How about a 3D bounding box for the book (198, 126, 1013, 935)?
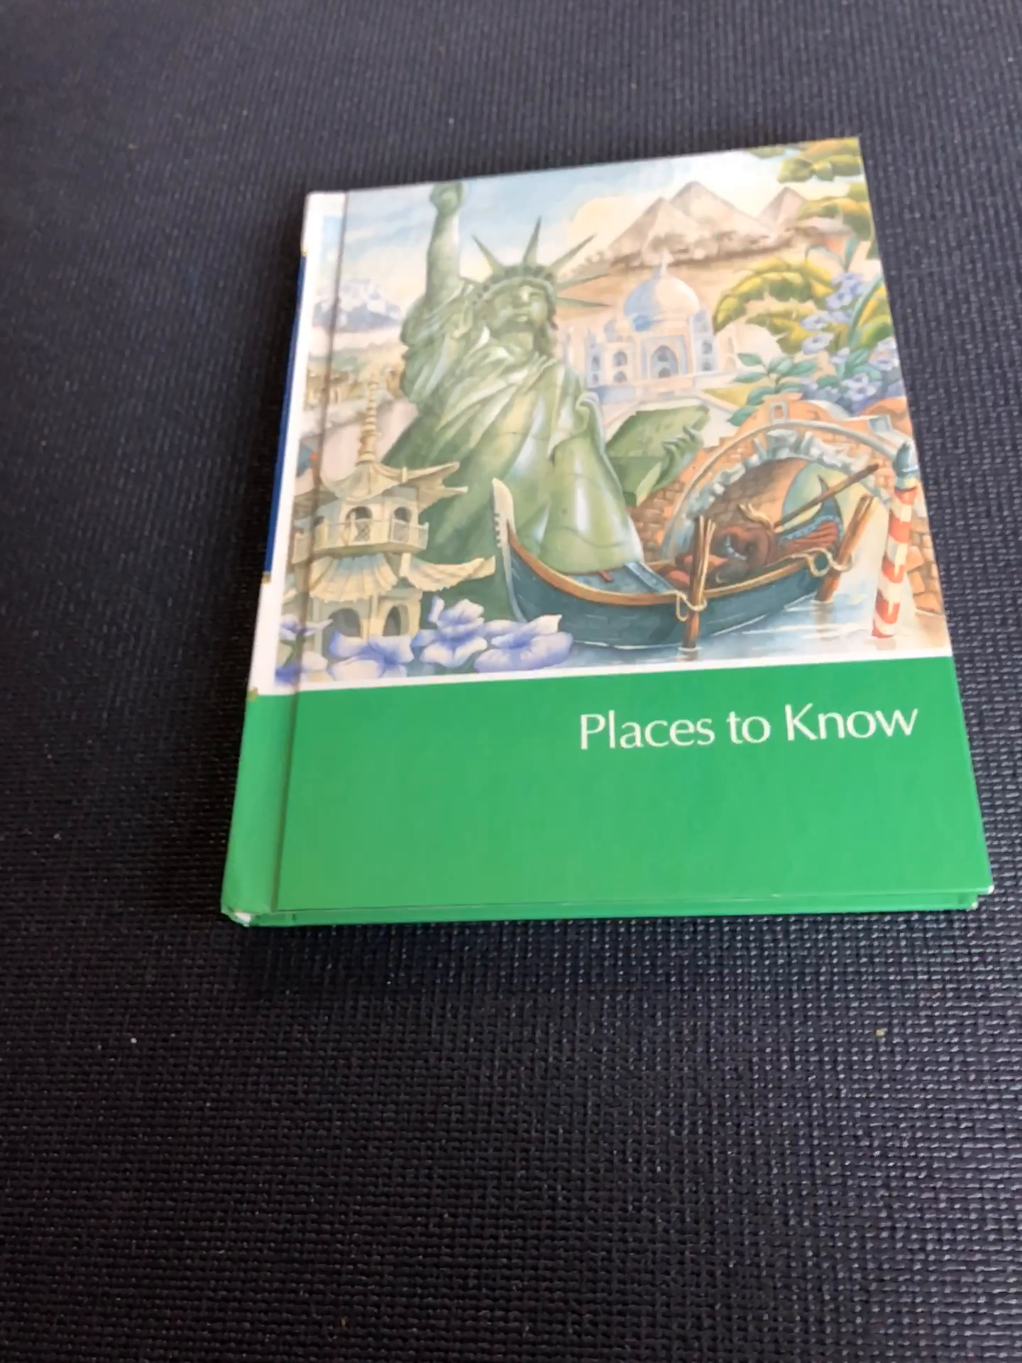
[{"bbox_3d":[0.021,-0.056,0.336,0.190,0.030,0.250,-3,64,6],"label":"book"}]
